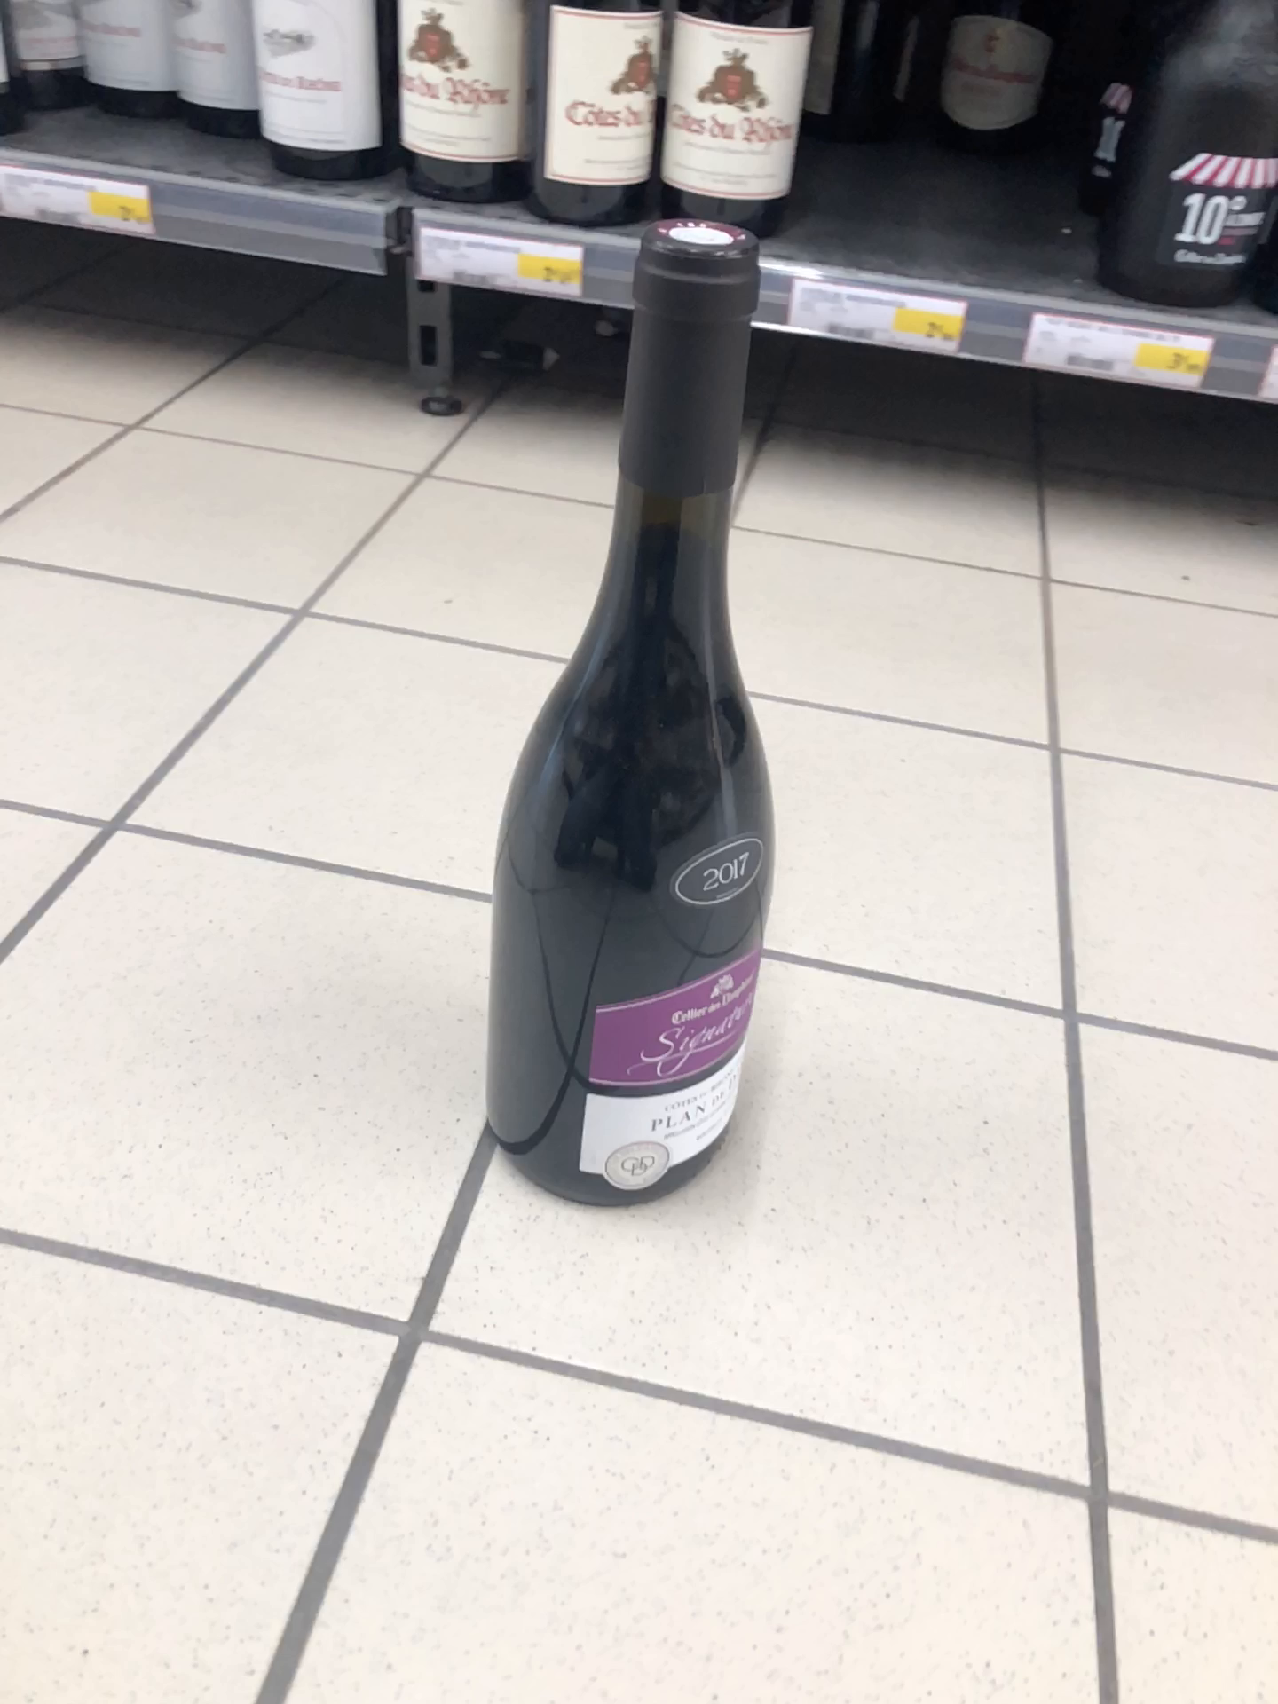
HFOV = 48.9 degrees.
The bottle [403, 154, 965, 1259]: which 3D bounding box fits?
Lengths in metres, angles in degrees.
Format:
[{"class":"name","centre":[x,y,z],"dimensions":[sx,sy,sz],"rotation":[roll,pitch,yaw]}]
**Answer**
[{"class":"bottle","centre":[-0.001,-0.029,0.400],"dimensions":[0.090,0.288,0.090],"rotation":[4,36,-3]}]
